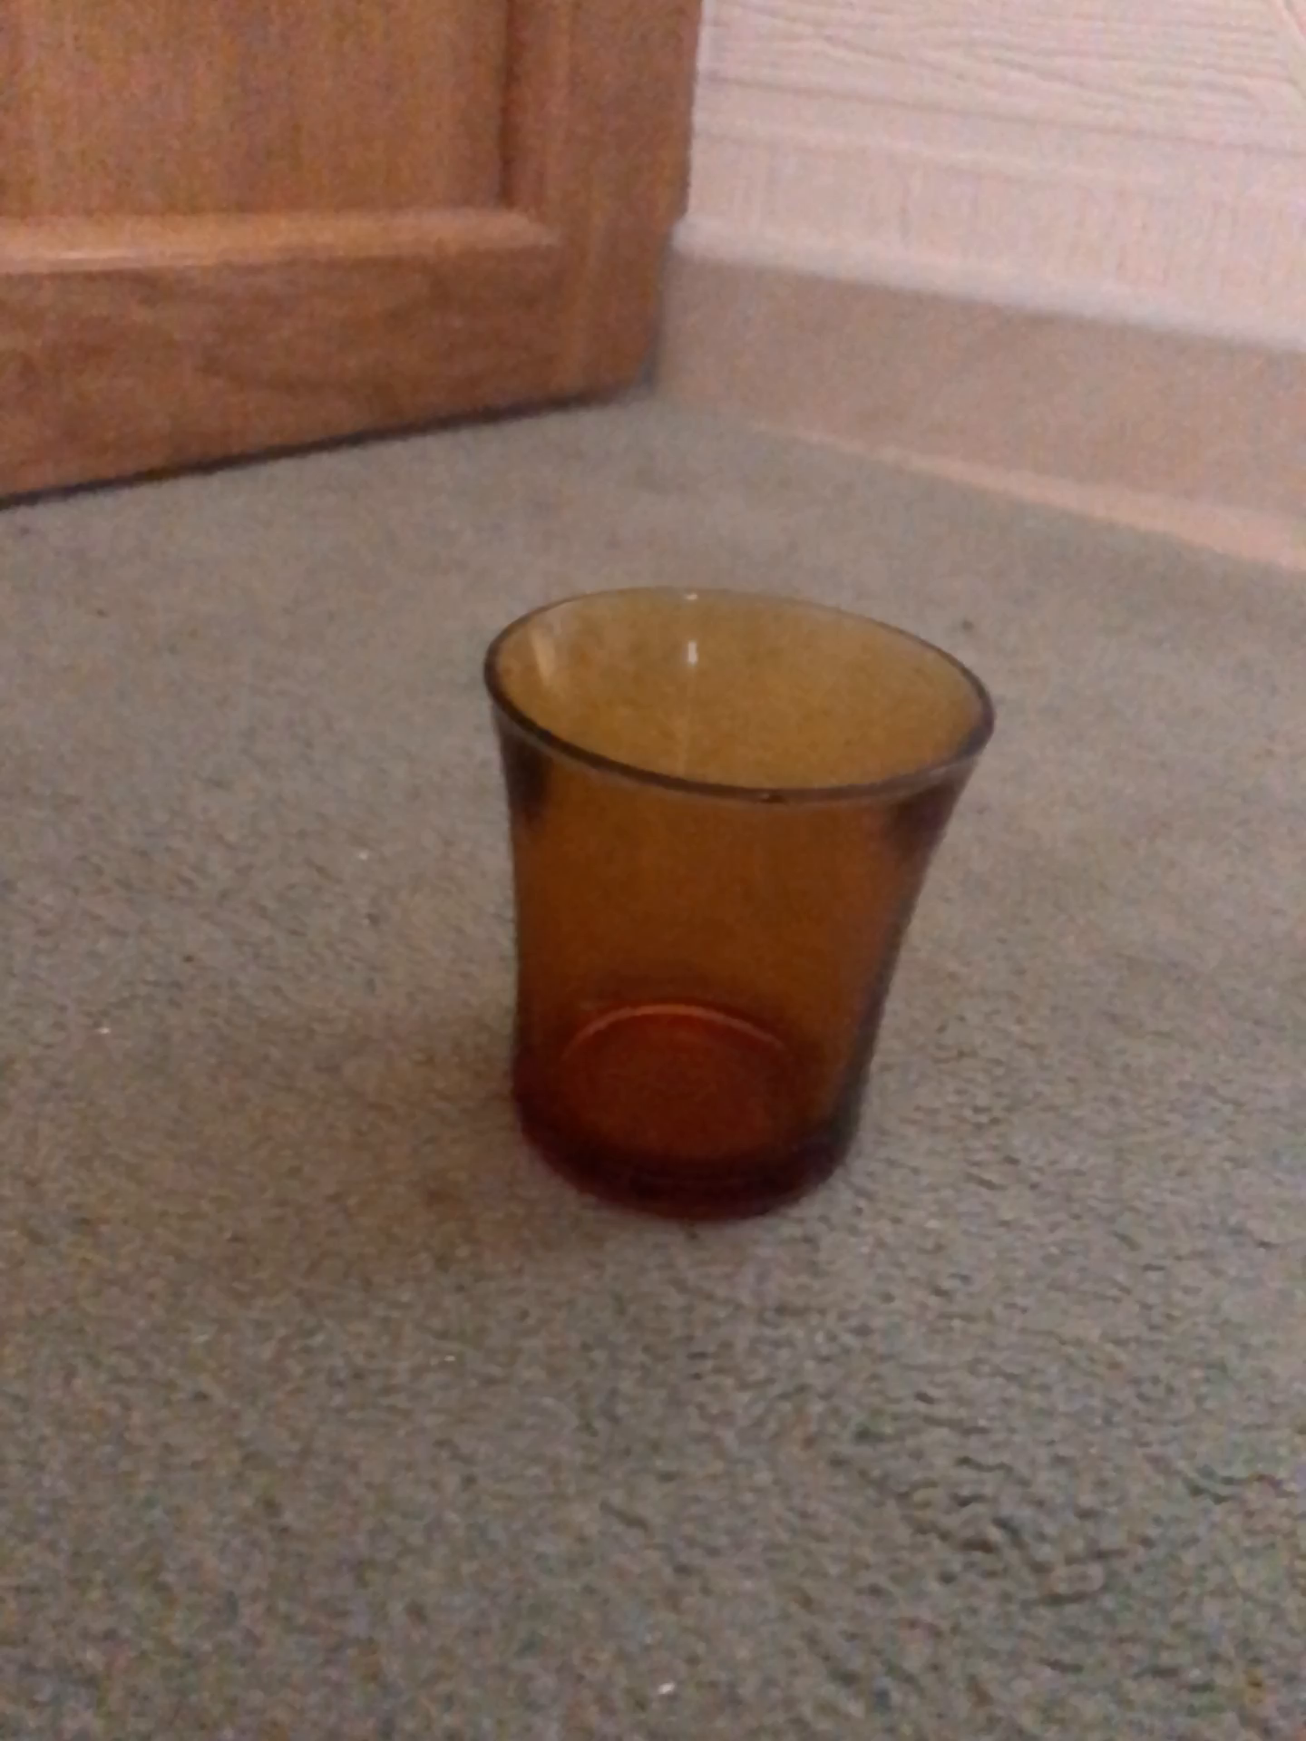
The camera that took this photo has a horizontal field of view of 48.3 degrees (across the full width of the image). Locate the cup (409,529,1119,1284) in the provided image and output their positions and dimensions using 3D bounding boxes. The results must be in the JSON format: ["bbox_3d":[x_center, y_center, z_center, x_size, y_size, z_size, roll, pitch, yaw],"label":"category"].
[{"bbox_3d":[0.015,-0.001,0.213,0.070,0.070,0.070,5,28,-3],"label":"cup"}]
